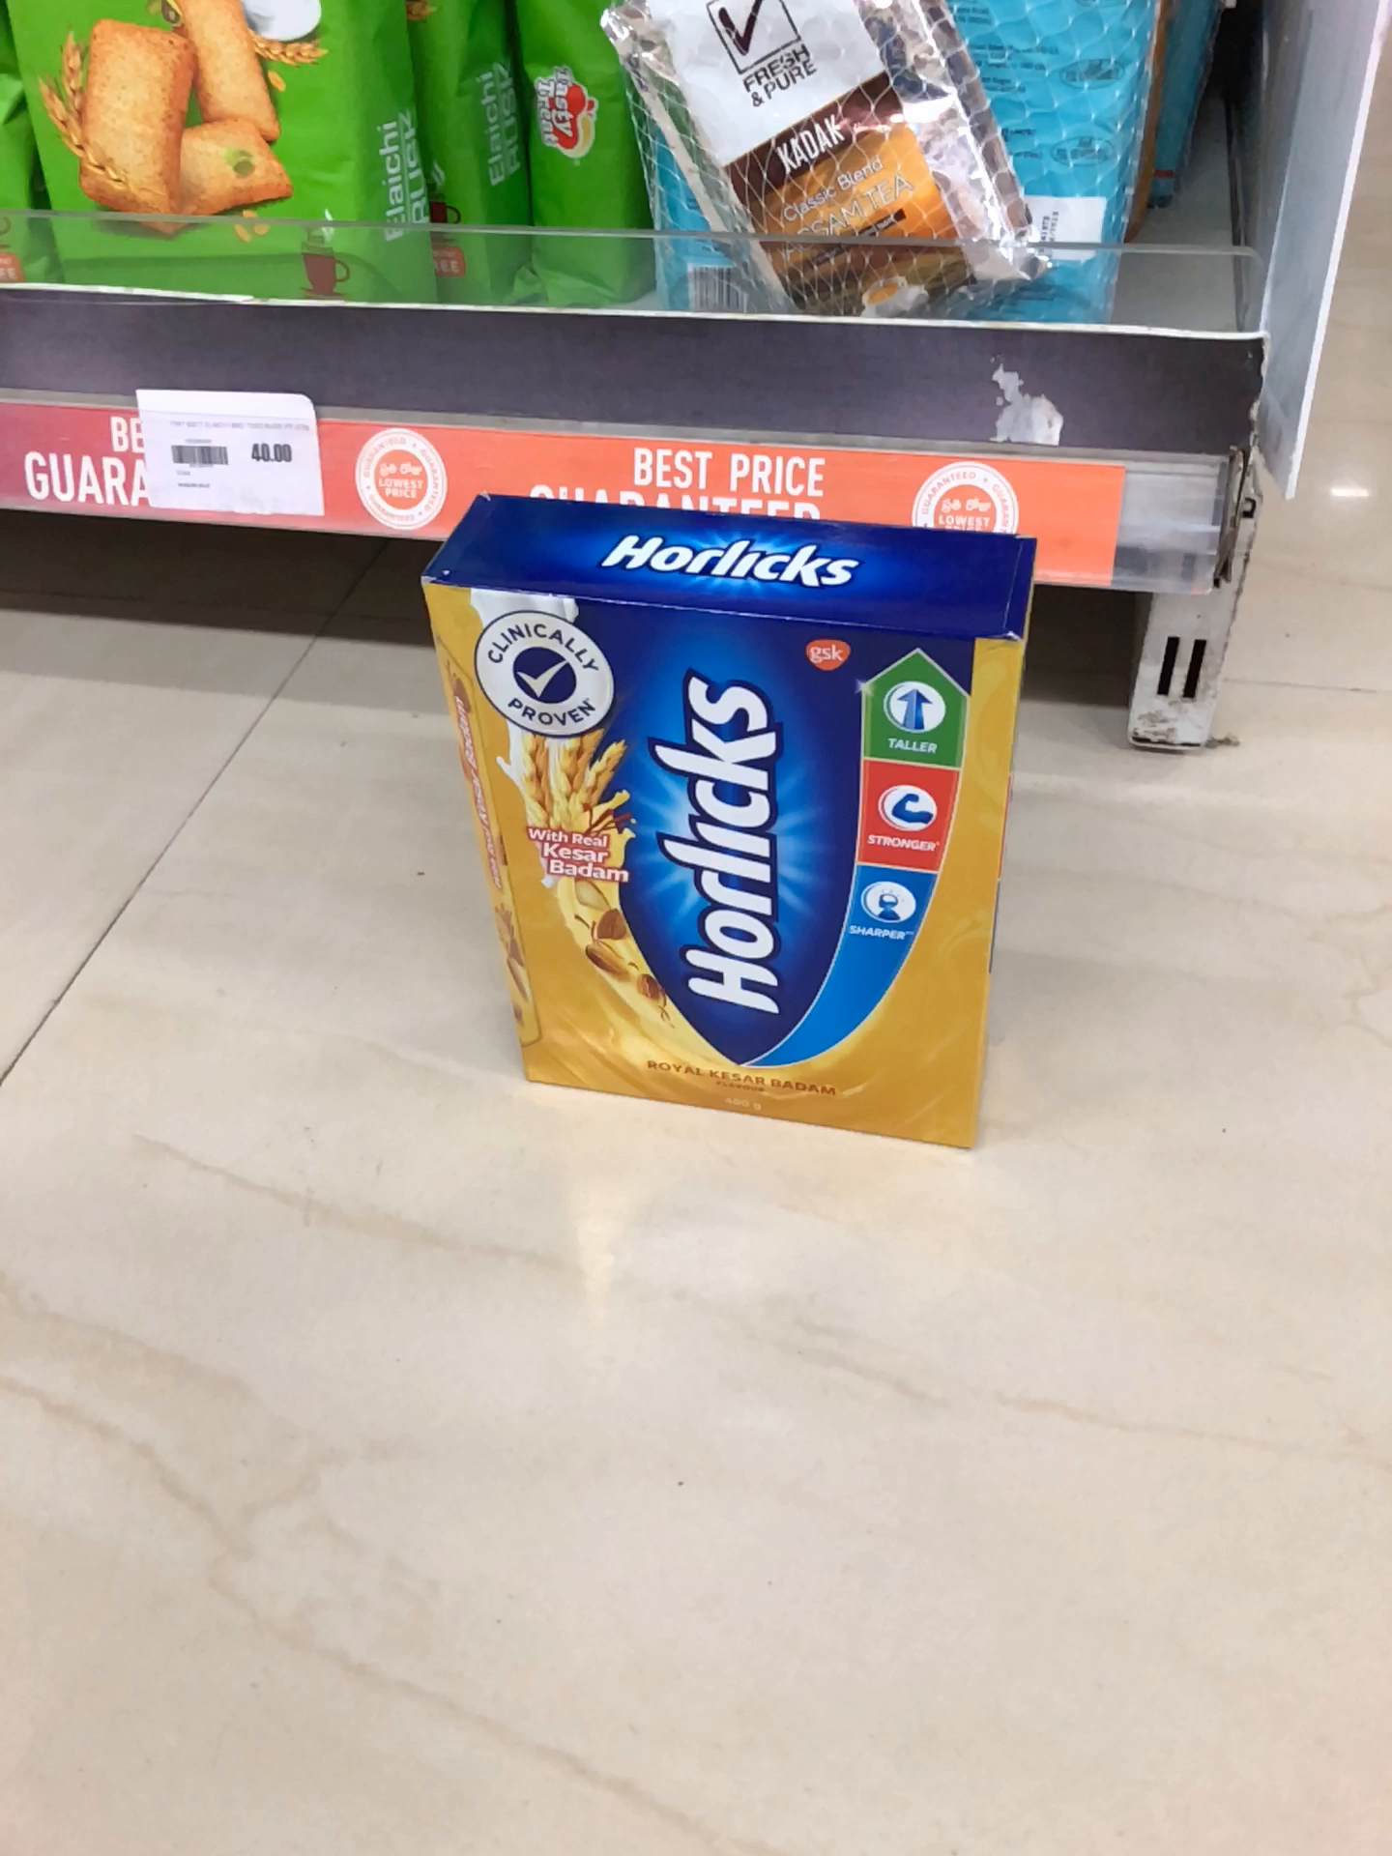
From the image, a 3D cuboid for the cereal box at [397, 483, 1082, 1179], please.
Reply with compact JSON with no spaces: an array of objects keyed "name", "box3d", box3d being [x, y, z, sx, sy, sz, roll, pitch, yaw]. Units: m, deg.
[{"name":"cereal box","box3d":[0.015,-0.020,0.413,0.150,0.179,0.050,7,44,12]}]
